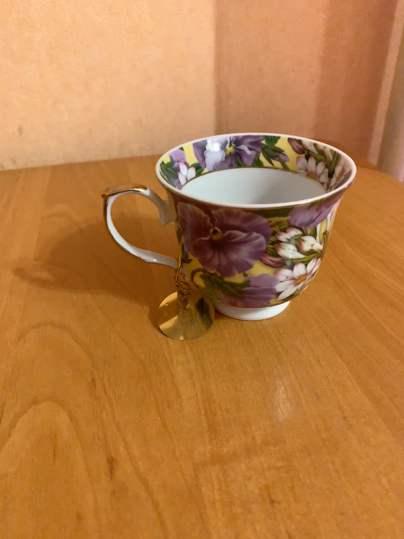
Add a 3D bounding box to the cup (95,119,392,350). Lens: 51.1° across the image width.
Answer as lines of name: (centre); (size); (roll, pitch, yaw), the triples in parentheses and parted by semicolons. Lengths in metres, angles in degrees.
cup: (0.012, -0.022, 0.200); (0.108, 0.069, 0.077); (-7, 33, -8)
